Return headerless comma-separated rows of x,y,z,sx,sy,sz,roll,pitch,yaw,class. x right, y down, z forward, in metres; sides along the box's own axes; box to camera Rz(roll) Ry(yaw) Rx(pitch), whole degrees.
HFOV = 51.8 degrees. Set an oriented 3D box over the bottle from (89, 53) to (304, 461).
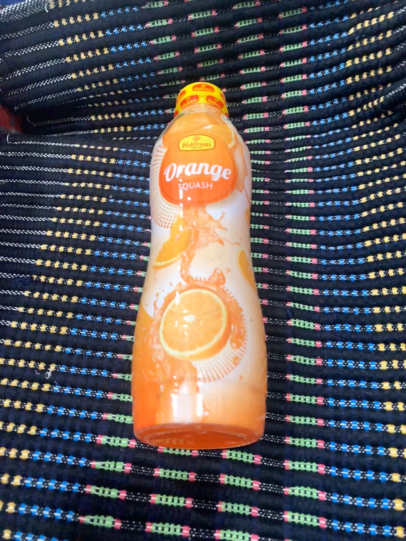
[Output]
0.001,-0.028,0.248,0.080,0.060,0.251,-1,57,4,bottle
